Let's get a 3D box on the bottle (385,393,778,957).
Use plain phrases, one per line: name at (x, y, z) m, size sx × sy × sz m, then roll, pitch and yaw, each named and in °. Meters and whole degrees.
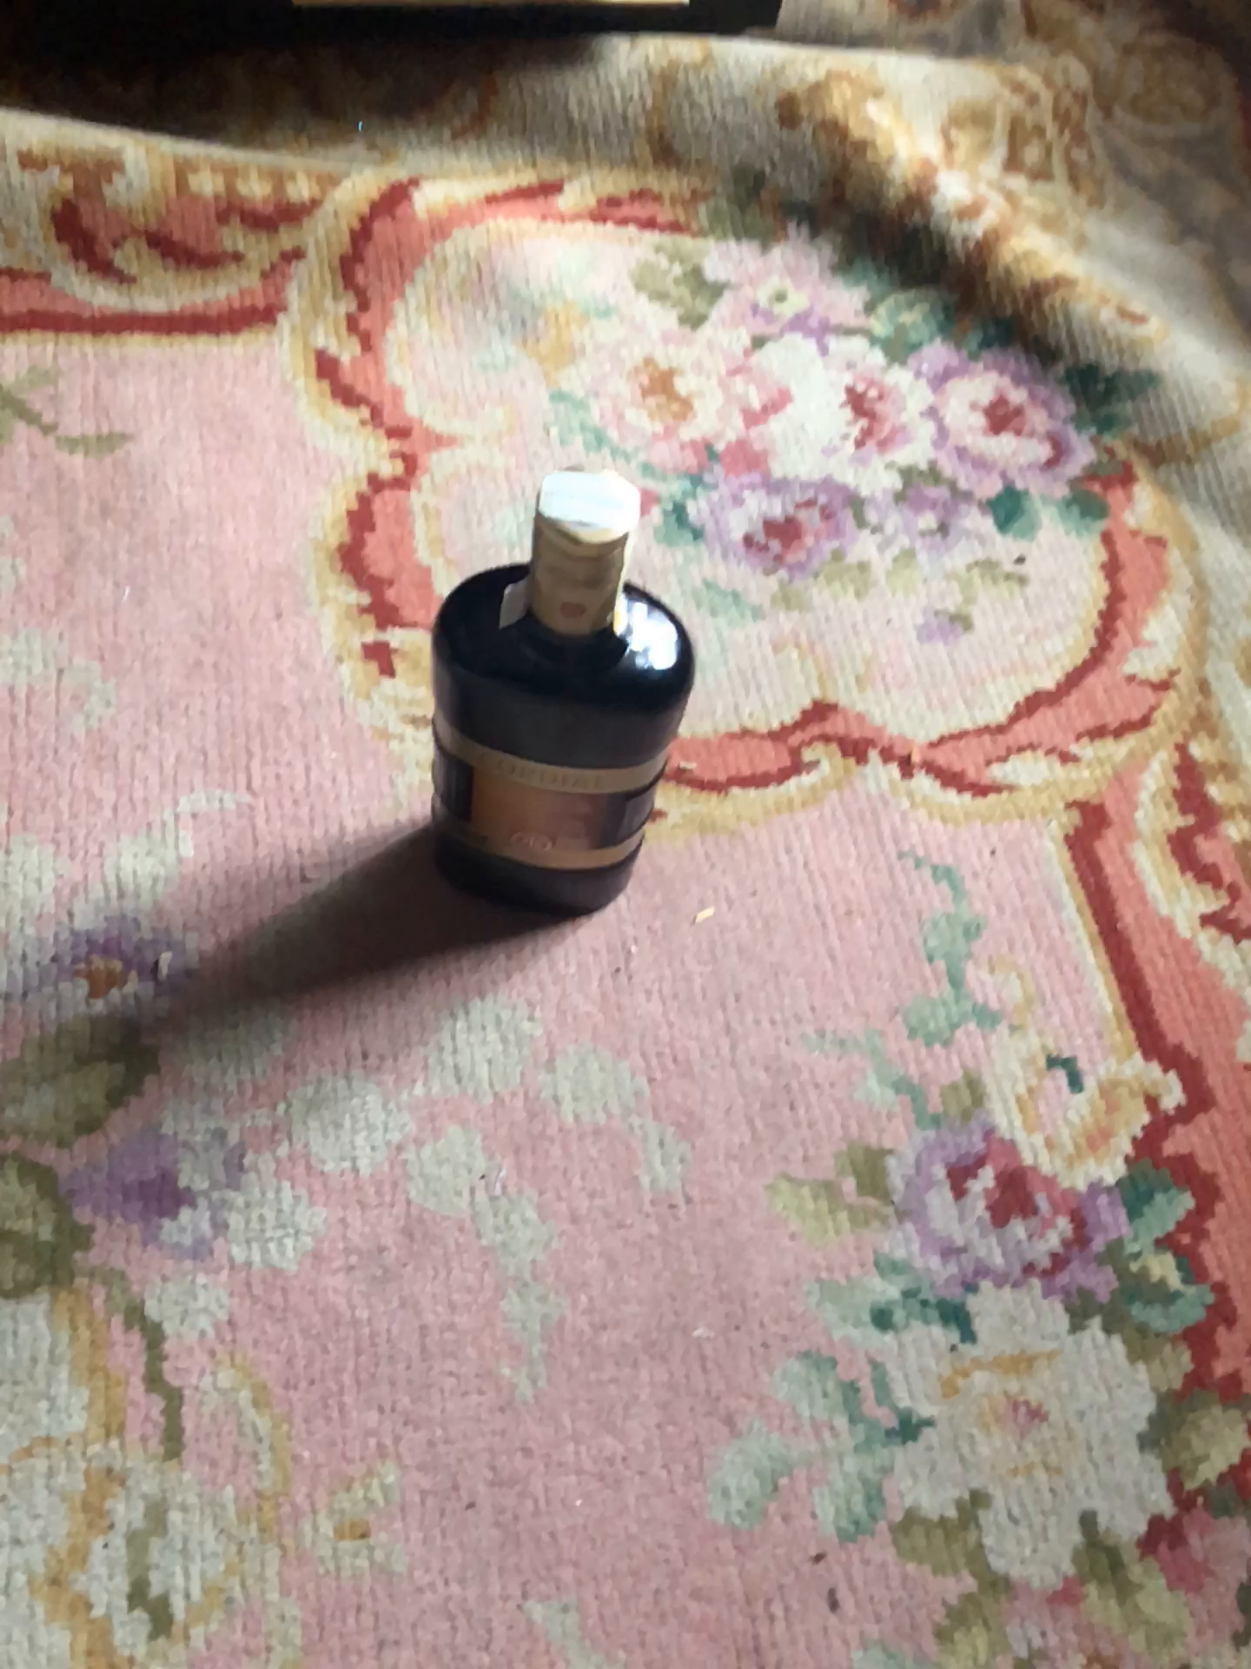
bottle at (-0.026, -0.036, 0.481) m, size 0.100 × 0.239 × 0.050 m, roll 13°, pitch 62°, yaw -2°
